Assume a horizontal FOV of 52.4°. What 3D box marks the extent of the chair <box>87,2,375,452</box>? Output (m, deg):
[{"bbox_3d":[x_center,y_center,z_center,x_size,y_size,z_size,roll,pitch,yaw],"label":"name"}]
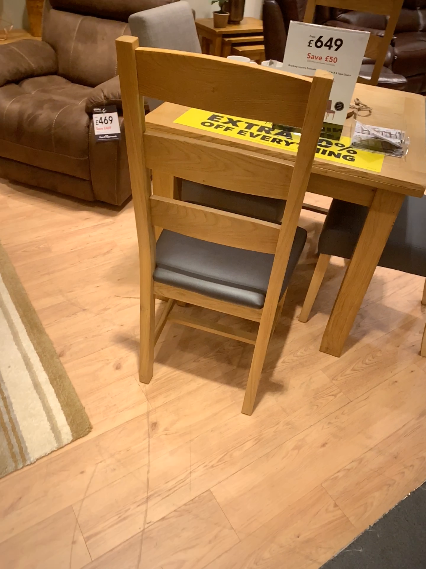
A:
[{"bbox_3d":[0.047,-0.117,1.274,0.470,1.099,0.555,16,41,12],"label":"chair"}]
